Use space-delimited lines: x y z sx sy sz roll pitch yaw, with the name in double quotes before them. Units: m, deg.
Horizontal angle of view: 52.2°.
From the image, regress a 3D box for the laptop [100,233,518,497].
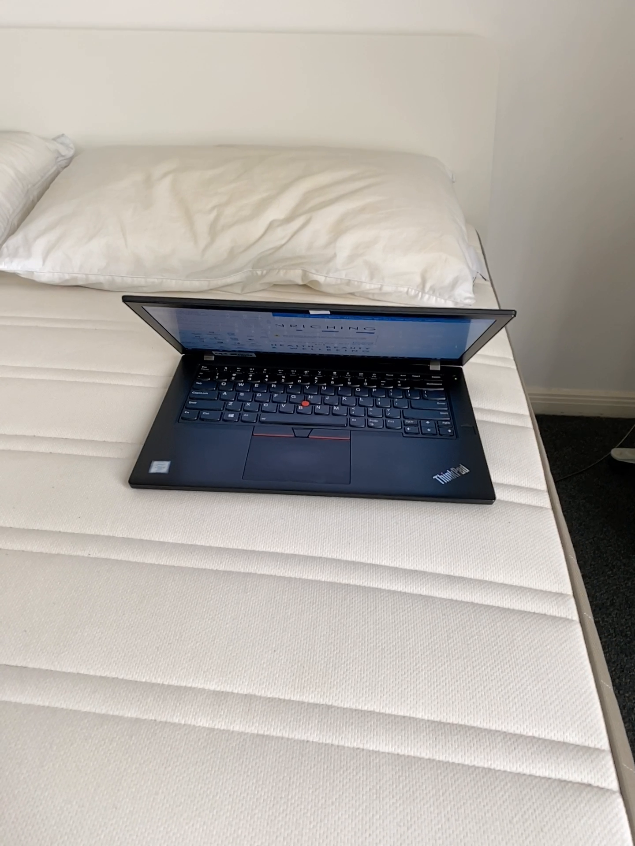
"laptop" -0.003 -0.066 0.633 0.324 0.150 0.221 2 37 1
